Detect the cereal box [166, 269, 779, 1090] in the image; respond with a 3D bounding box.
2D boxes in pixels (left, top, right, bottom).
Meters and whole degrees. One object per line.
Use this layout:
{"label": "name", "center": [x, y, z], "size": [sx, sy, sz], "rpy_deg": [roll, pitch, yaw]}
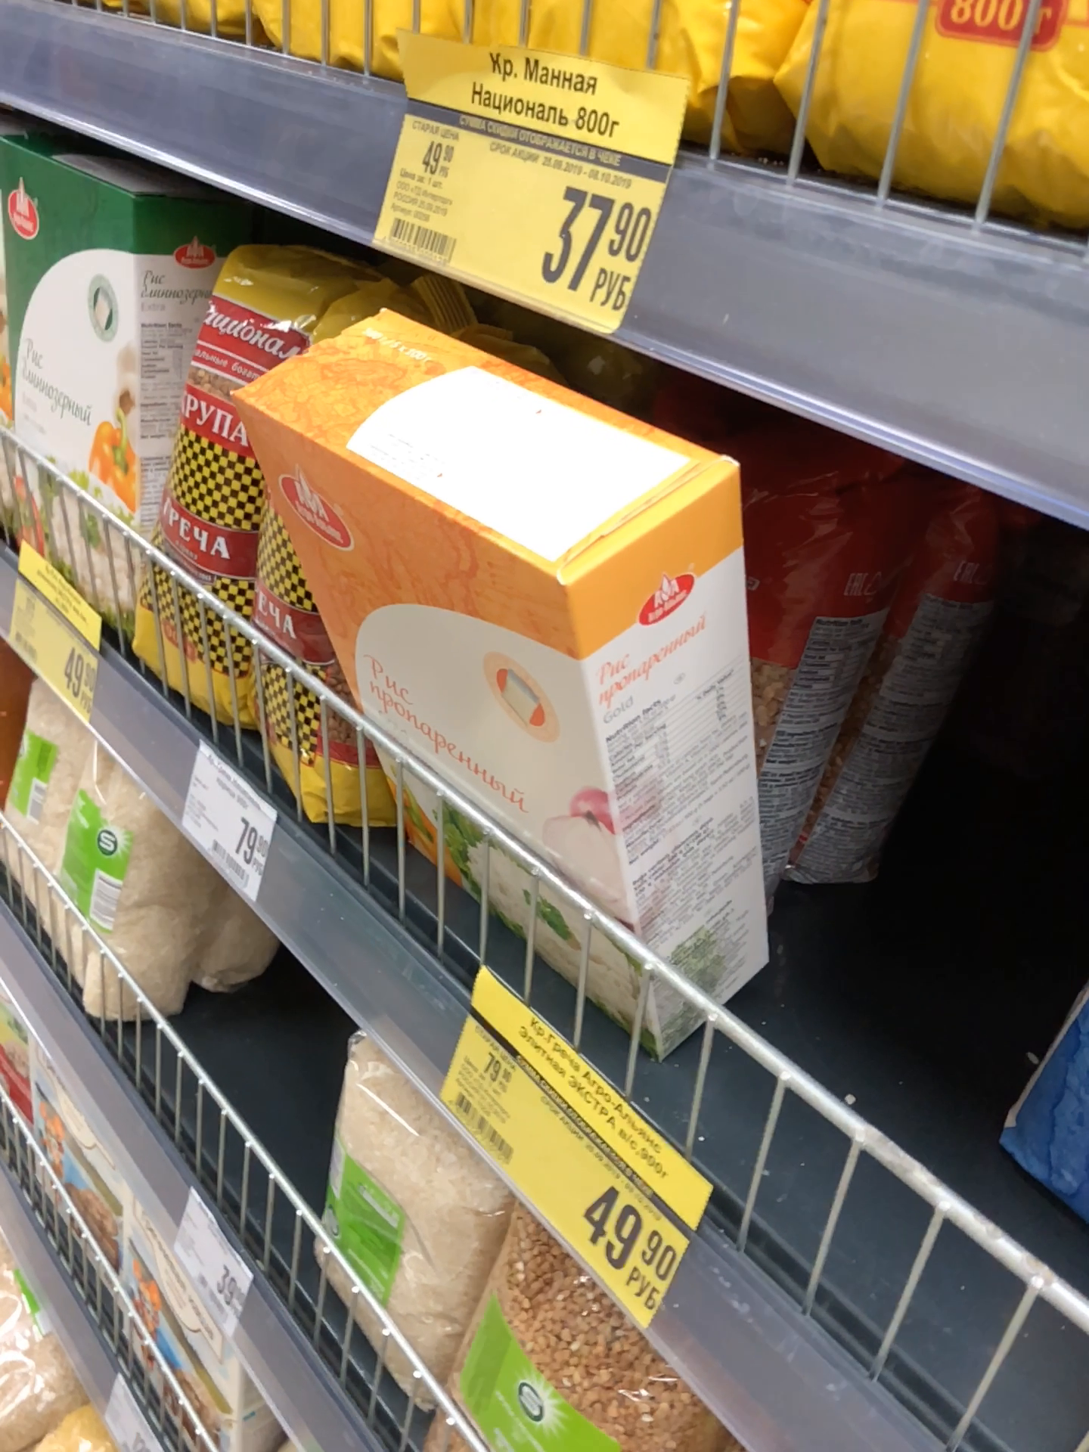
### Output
{"label": "cereal box", "center": [-0.011, -0.008, 0.336], "size": [0.060, 0.189, 0.140], "rpy_deg": [-37, 50, -22]}
